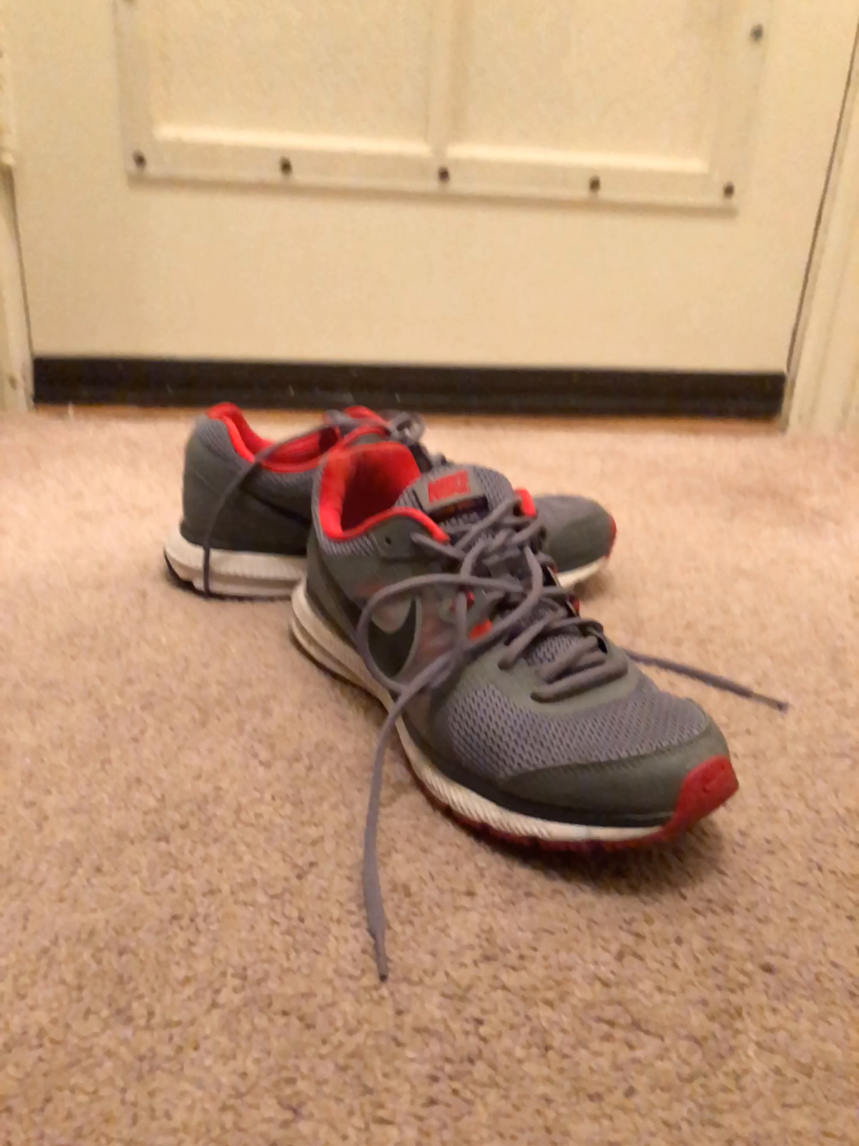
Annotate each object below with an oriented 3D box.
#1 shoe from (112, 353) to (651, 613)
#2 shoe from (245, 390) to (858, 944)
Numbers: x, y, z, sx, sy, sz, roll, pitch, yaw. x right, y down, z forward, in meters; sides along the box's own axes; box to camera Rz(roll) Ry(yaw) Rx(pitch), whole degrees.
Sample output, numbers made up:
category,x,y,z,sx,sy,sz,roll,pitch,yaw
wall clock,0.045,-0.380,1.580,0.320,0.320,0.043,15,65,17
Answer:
category,x,y,z,sx,sy,sz,roll,pitch,yaw
shoe,-0.029,-0.060,0.597,0.297,0.120,0.114,3,23,-3
shoe,0.024,0.010,0.448,0.113,0.120,0.298,-11,27,-31
